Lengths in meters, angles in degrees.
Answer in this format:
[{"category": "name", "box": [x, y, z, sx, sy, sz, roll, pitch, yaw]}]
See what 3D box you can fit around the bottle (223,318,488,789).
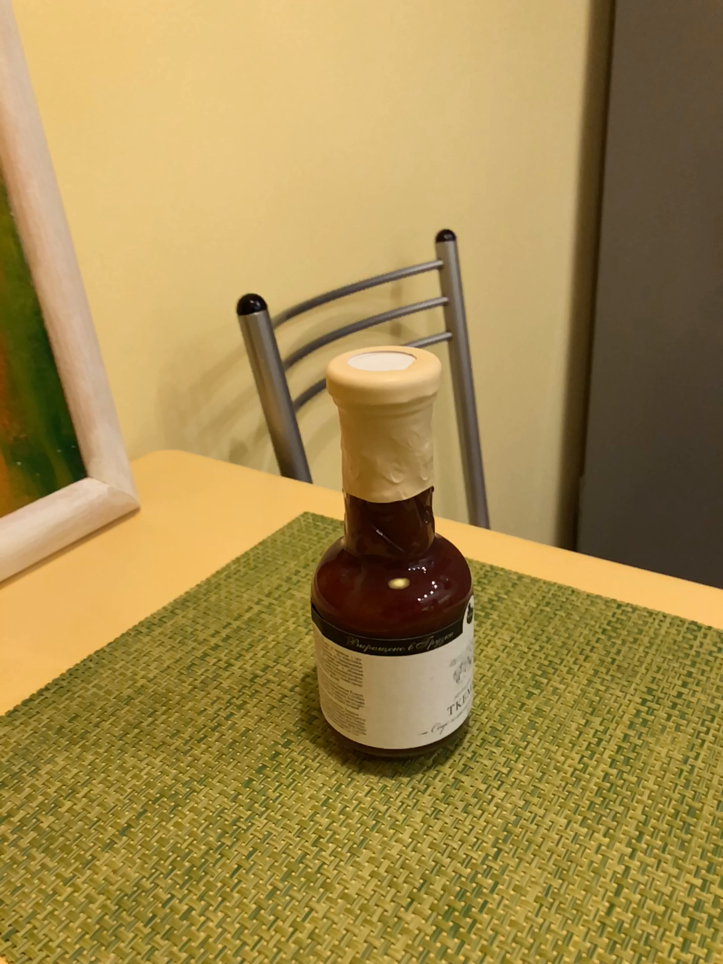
[{"category": "bottle", "box": [0.003, 0.025, 0.313, 0.070, 0.159, 0.070, -2, 24, 1]}]
